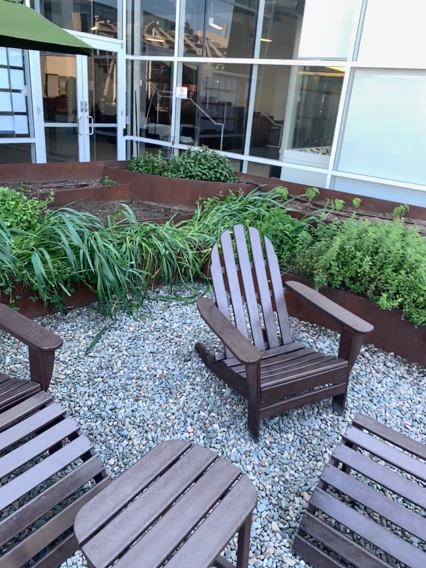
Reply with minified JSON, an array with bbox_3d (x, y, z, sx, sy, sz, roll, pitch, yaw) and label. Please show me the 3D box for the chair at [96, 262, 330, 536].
[{"bbox_3d":[-0.126,0.524,2.445,0.999,0.995,1.006,-1,23,-14],"label":"chair"}]
